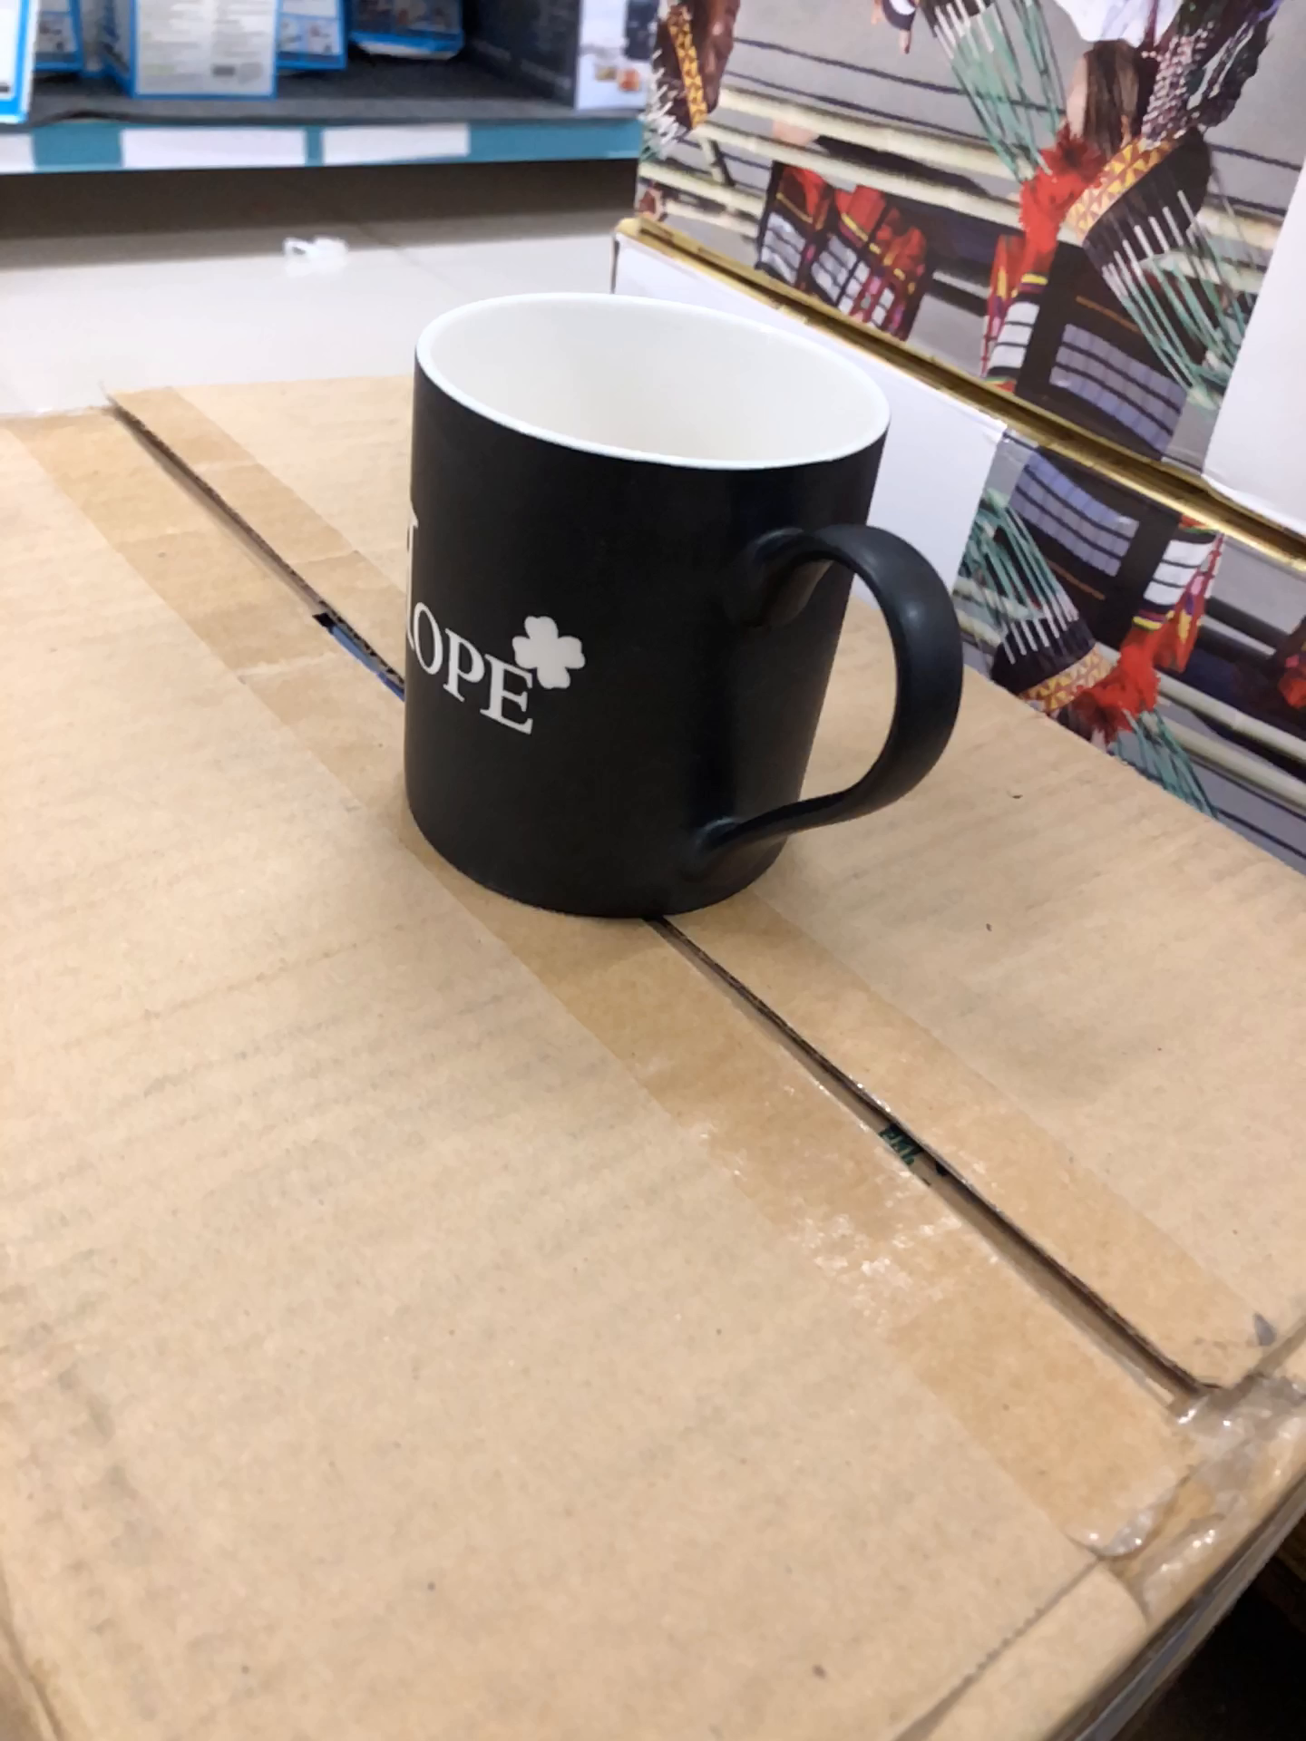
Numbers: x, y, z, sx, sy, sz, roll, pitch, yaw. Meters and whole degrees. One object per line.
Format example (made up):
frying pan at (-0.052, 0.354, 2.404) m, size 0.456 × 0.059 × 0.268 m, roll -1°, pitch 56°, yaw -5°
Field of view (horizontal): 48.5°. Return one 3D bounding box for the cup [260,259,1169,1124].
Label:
cup at (0.002, -0.042, 0.260) m, size 0.090 × 0.089 × 0.120 m, roll -24°, pitch 48°, yaw -36°
